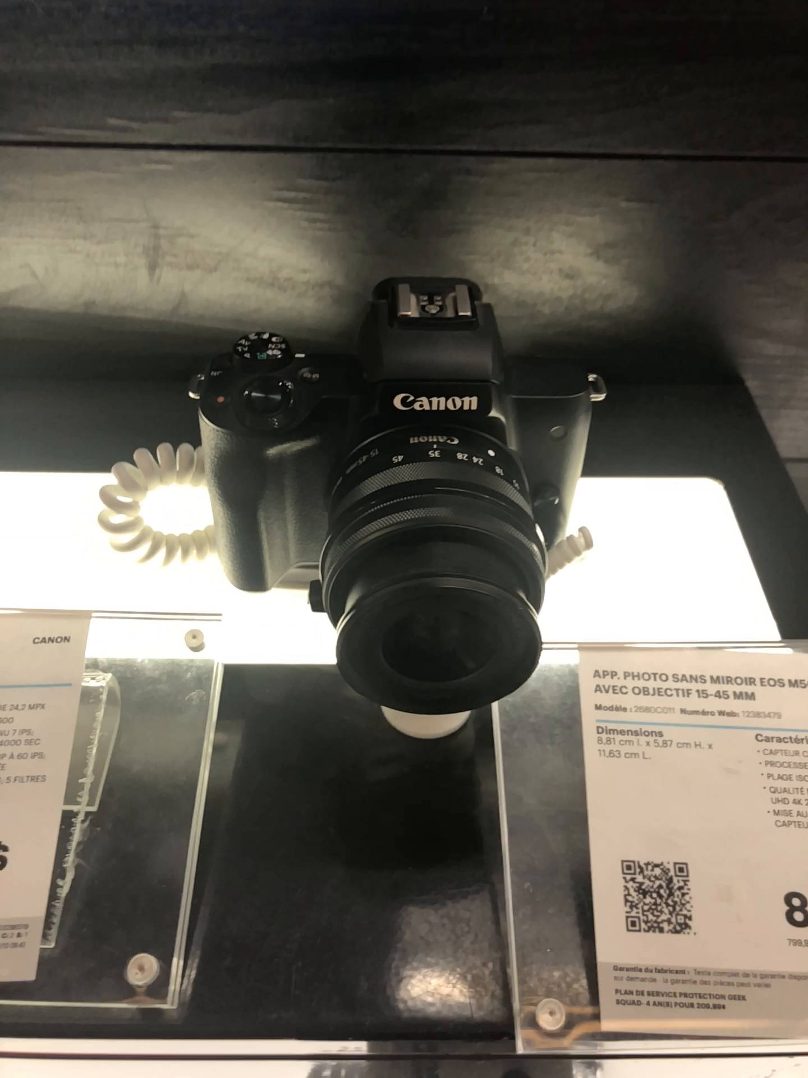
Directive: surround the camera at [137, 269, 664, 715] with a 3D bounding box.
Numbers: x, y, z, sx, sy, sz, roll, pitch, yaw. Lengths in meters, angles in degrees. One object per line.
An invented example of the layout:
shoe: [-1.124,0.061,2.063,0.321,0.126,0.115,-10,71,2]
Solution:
camera: [-0.002,-0.016,0.270,0.119,0.089,0.101,0,41,-1]
